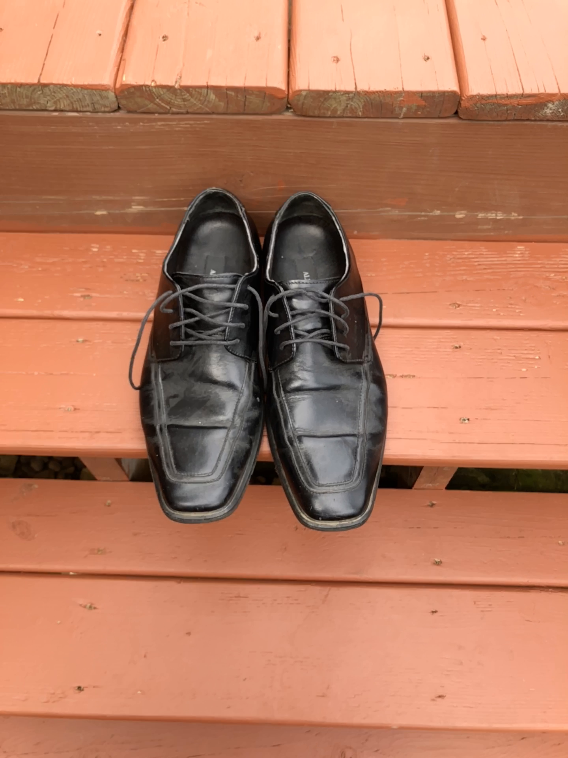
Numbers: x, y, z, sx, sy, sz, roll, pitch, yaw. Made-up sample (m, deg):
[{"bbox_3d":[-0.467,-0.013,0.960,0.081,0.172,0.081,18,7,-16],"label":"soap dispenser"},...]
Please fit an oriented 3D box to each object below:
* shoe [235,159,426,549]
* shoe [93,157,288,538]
[{"bbox_3d":[0.027,-0.031,0.563,0.130,0.110,0.330,-2,62,-1],"label":"shoe"},{"bbox_3d":[-0.065,-0.037,0.570,0.130,0.110,0.330,1,62,1],"label":"shoe"}]
